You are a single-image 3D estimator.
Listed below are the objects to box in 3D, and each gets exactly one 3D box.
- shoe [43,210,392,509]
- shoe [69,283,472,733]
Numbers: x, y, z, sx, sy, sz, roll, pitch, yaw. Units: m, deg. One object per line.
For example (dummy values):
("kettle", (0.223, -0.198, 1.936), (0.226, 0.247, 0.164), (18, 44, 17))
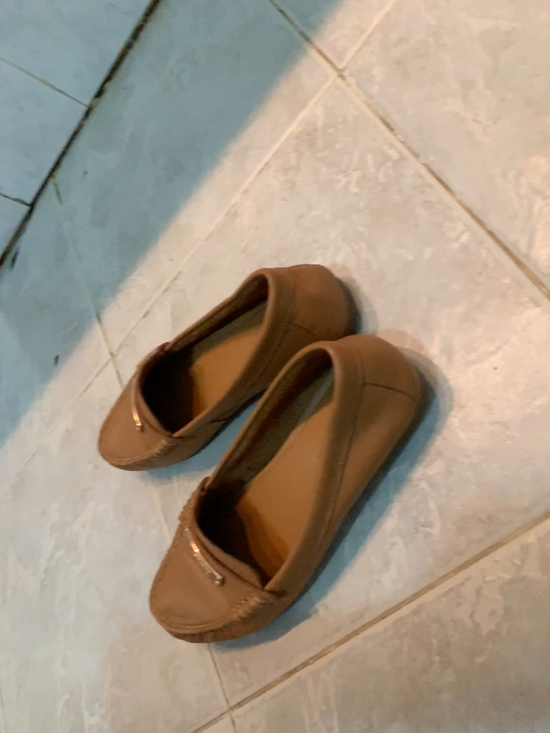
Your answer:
("shoe", (-0.056, 0.015, 0.366), (0.244, 0.071, 0.083), (-31, 61, 34))
("shoe", (-0.017, 0.085, 0.311), (0.243, 0.071, 0.085), (-54, 51, 20))
